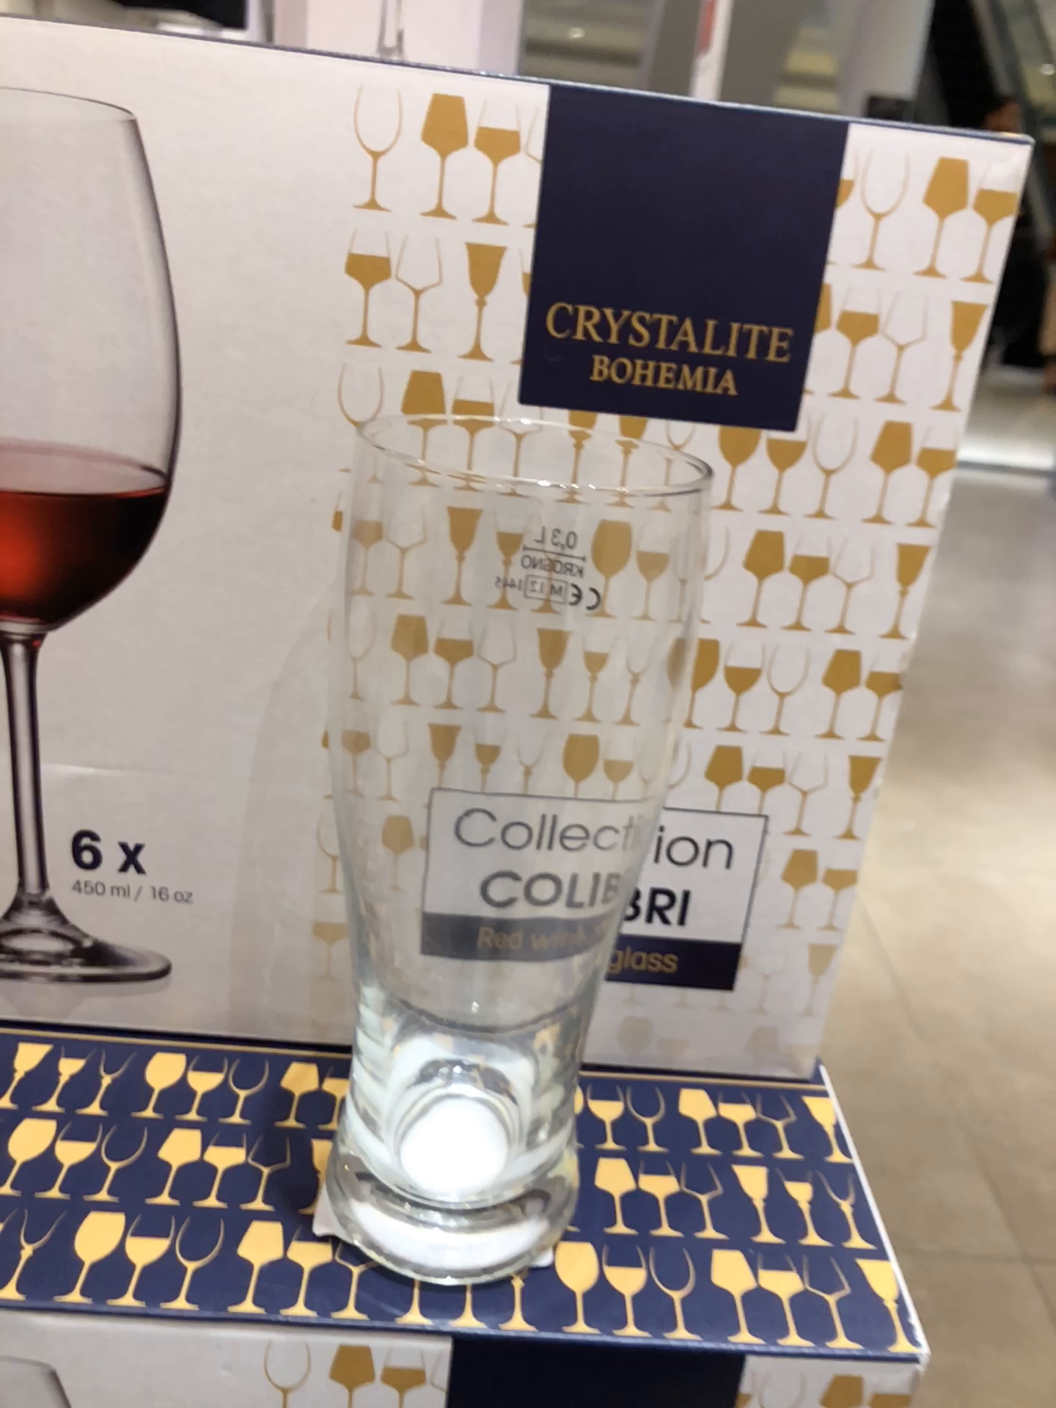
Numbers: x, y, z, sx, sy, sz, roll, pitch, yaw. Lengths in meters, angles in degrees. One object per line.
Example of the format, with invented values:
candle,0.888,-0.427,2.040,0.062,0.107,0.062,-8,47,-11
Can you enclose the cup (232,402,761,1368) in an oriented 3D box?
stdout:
cup,-0.011,0.036,0.253,0.080,0.179,0.081,6,21,-2
